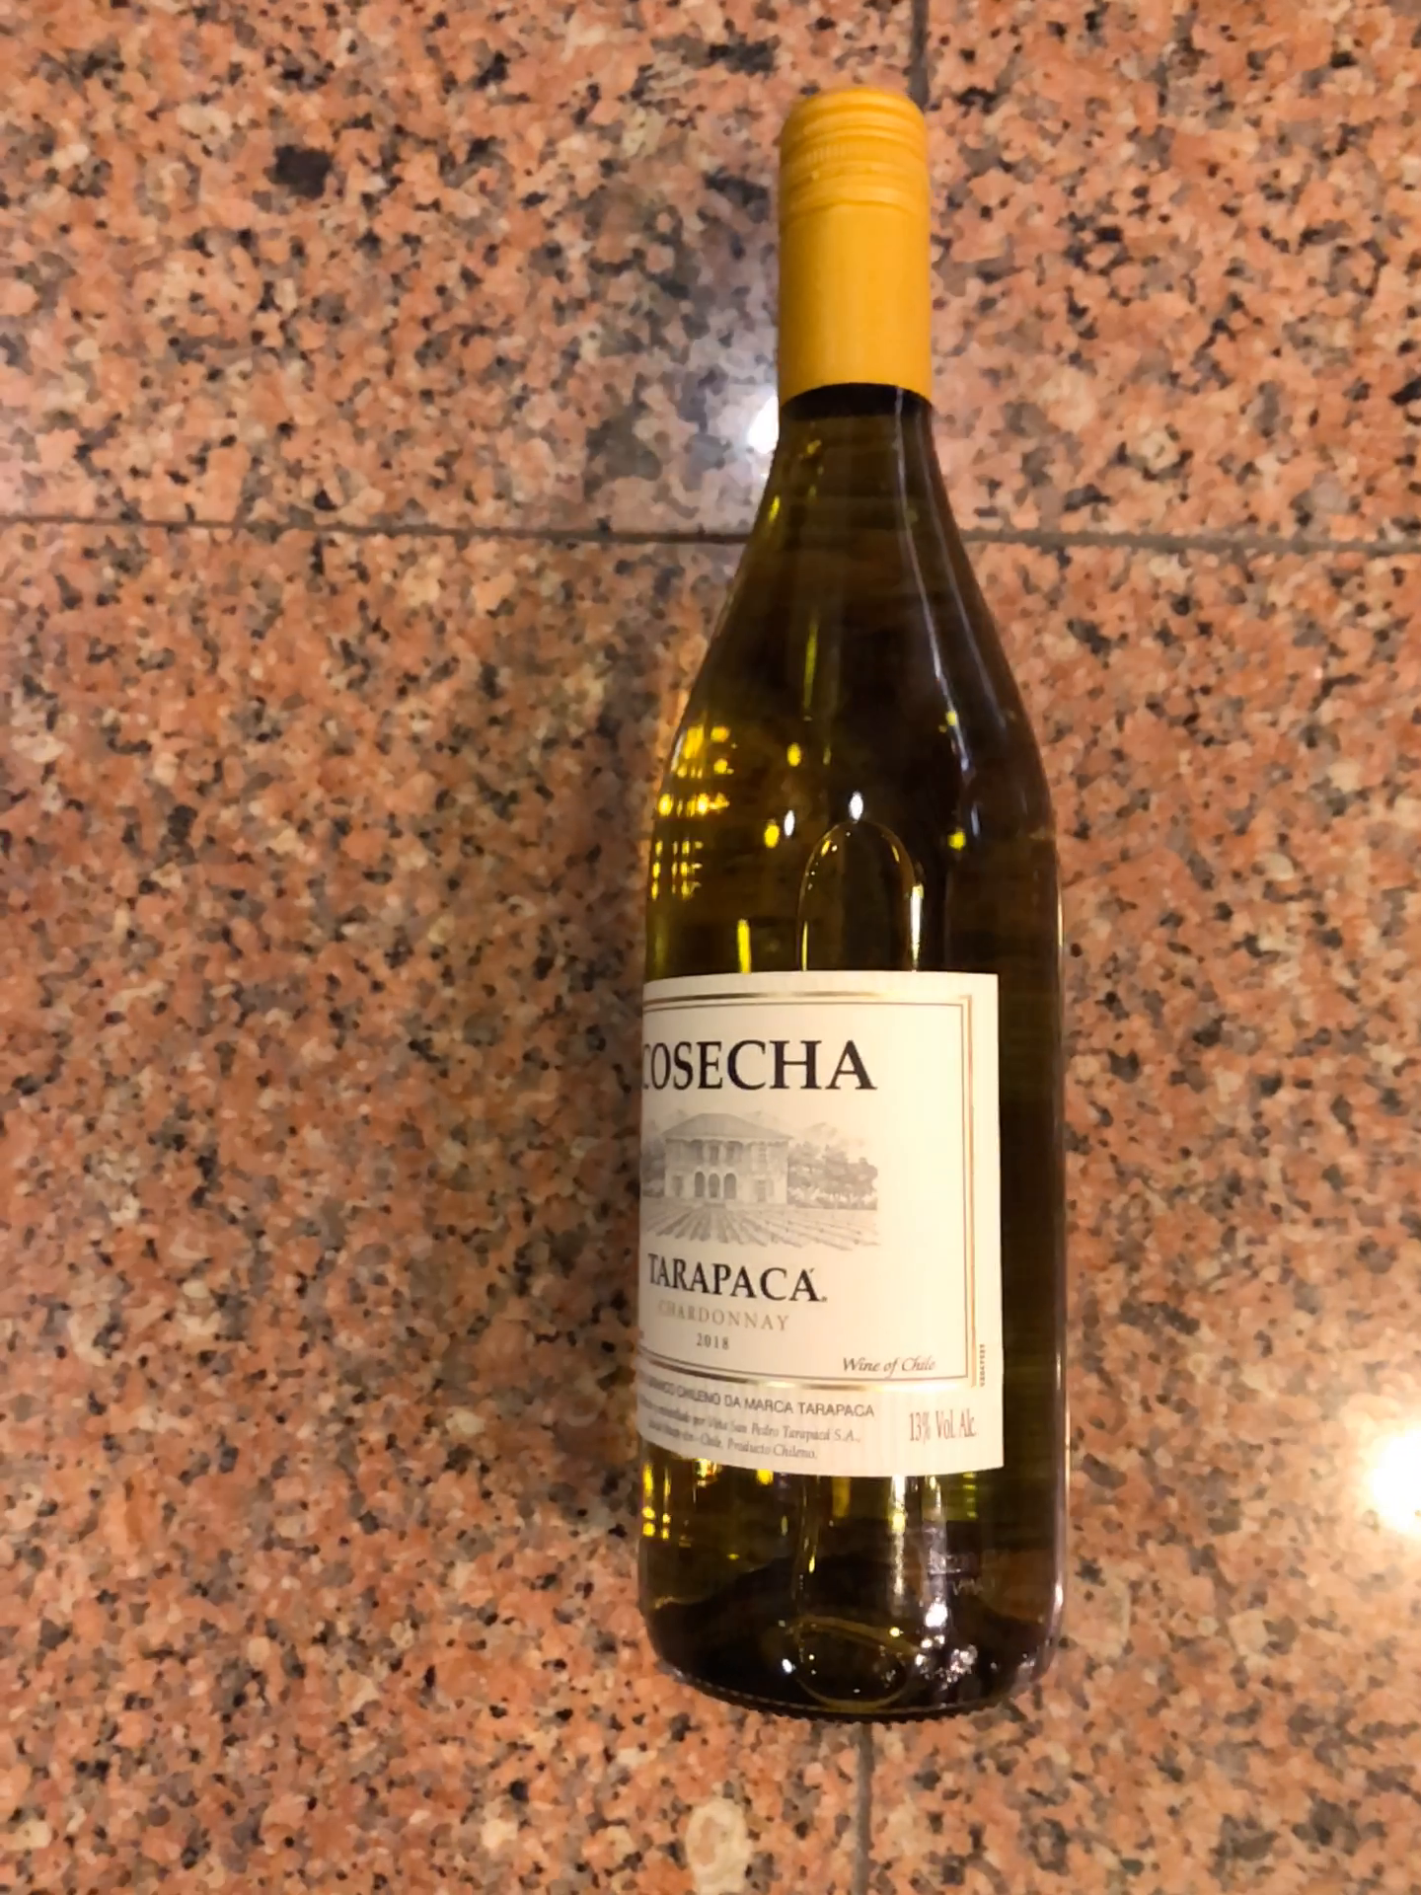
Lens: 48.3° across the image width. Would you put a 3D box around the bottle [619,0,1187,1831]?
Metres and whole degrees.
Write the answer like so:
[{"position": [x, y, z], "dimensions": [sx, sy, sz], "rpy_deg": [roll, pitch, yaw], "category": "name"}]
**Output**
[{"position": [0.033, -0.026, 0.303], "dimensions": [0.090, 0.070, 0.340], "rpy_deg": [0, 85, 3], "category": "bottle"}]
